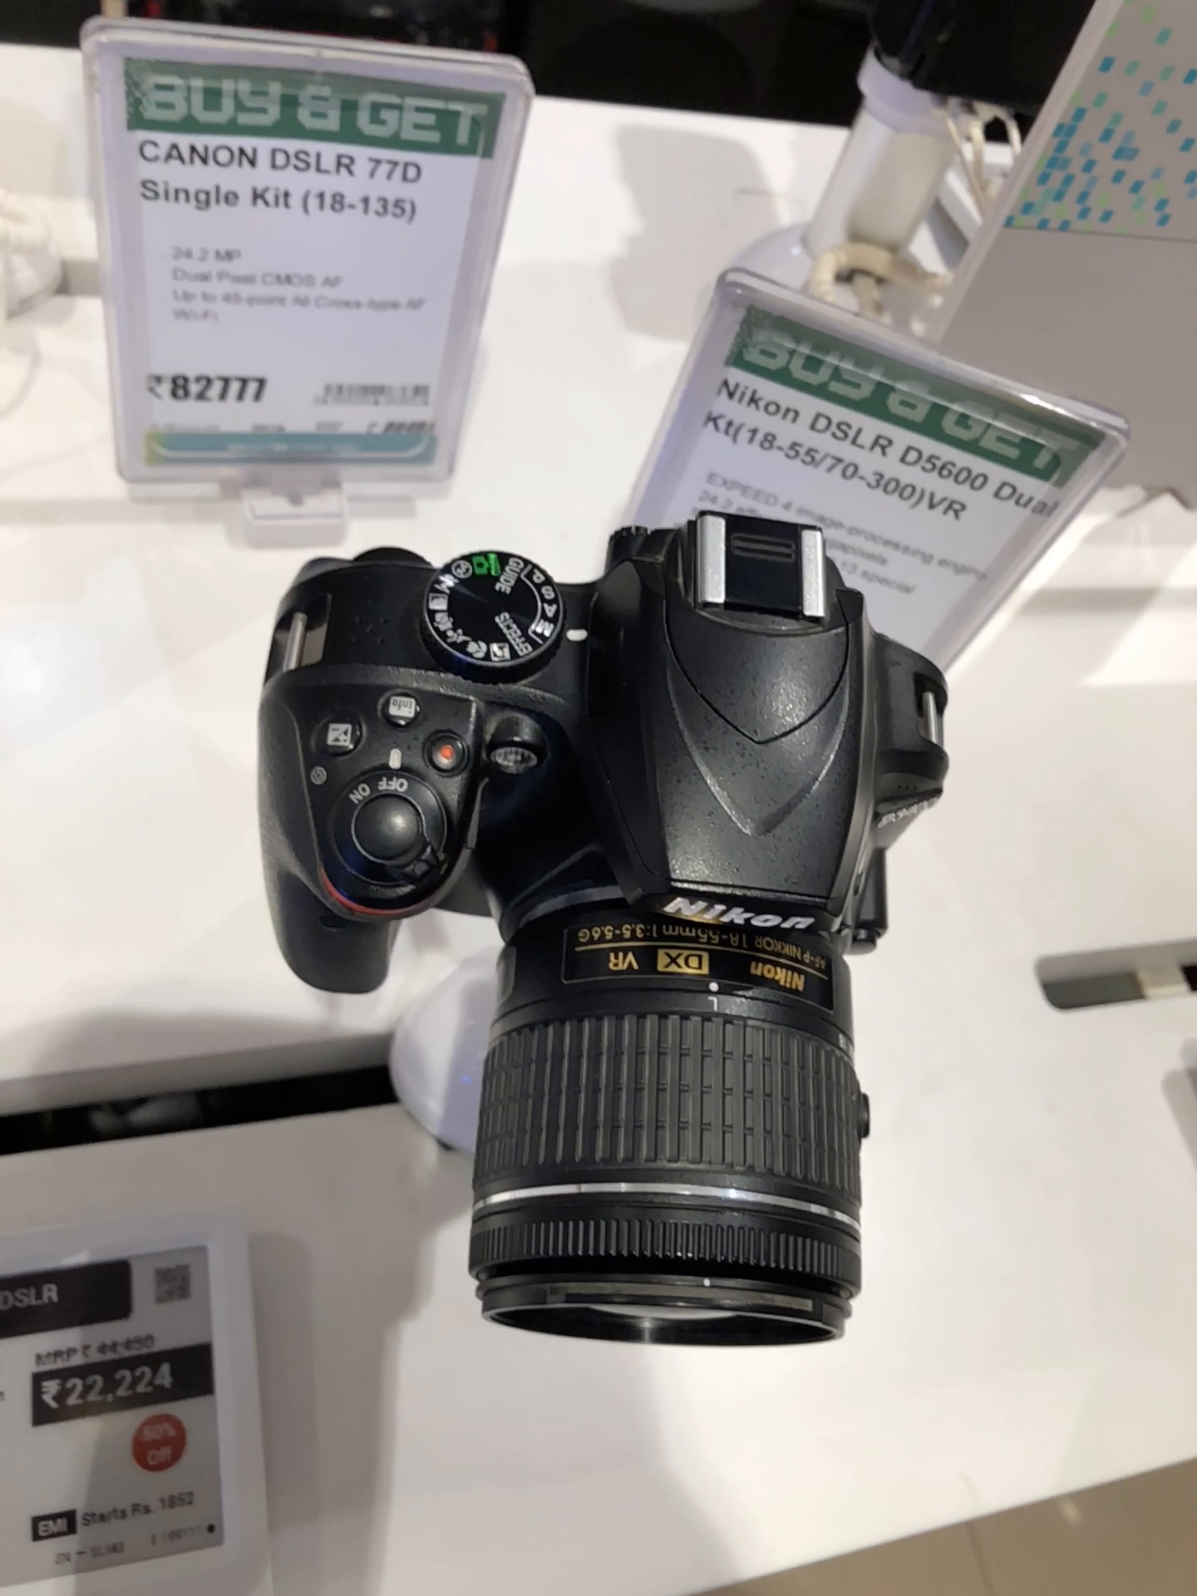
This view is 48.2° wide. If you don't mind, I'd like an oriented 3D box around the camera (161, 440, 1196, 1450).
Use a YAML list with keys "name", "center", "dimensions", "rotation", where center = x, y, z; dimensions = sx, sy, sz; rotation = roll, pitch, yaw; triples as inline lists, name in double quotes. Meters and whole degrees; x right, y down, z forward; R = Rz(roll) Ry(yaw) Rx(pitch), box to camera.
- name: "camera"
  center: [0.010, 0.031, 0.209]
  dimensions: [0.130, 0.090, 0.121]
  rotation: [6, 59, -12]
